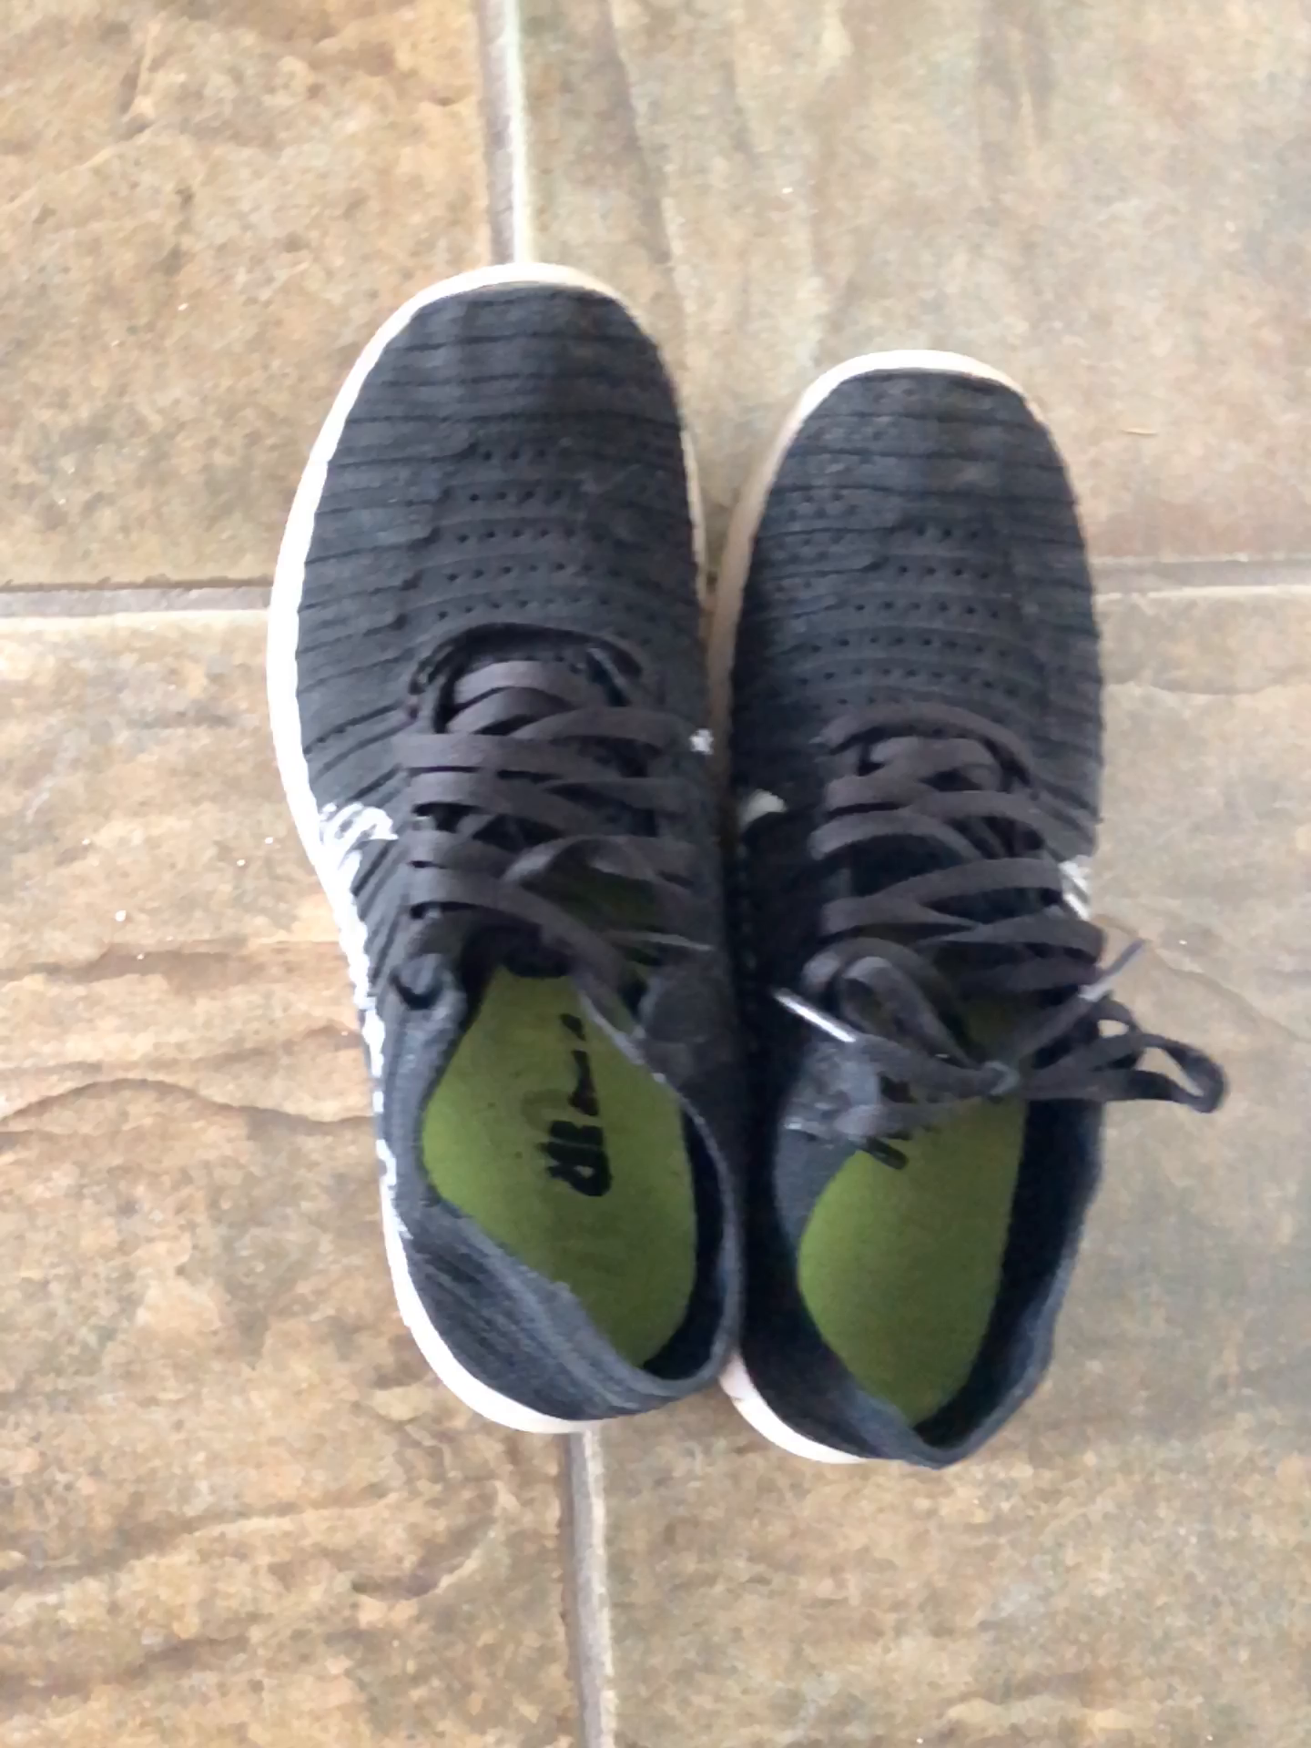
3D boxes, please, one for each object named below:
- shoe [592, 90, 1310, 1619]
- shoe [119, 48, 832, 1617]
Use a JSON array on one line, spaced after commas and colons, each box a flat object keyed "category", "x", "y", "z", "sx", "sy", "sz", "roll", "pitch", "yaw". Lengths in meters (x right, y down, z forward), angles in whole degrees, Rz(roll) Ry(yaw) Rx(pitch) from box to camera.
[{"category": "shoe", "x": 0.056, "y": -0.001, "z": 0.303, "sx": 0.110, "sy": 0.100, "sz": 0.260, "roll": 4, "pitch": 89, "yaw": -9}, {"category": "shoe", "x": -0.037, "y": -0.009, "z": 0.297, "sx": 0.110, "sy": 0.100, "sz": 0.260, "roll": -3, "pitch": 90, "yaw": -9}]
